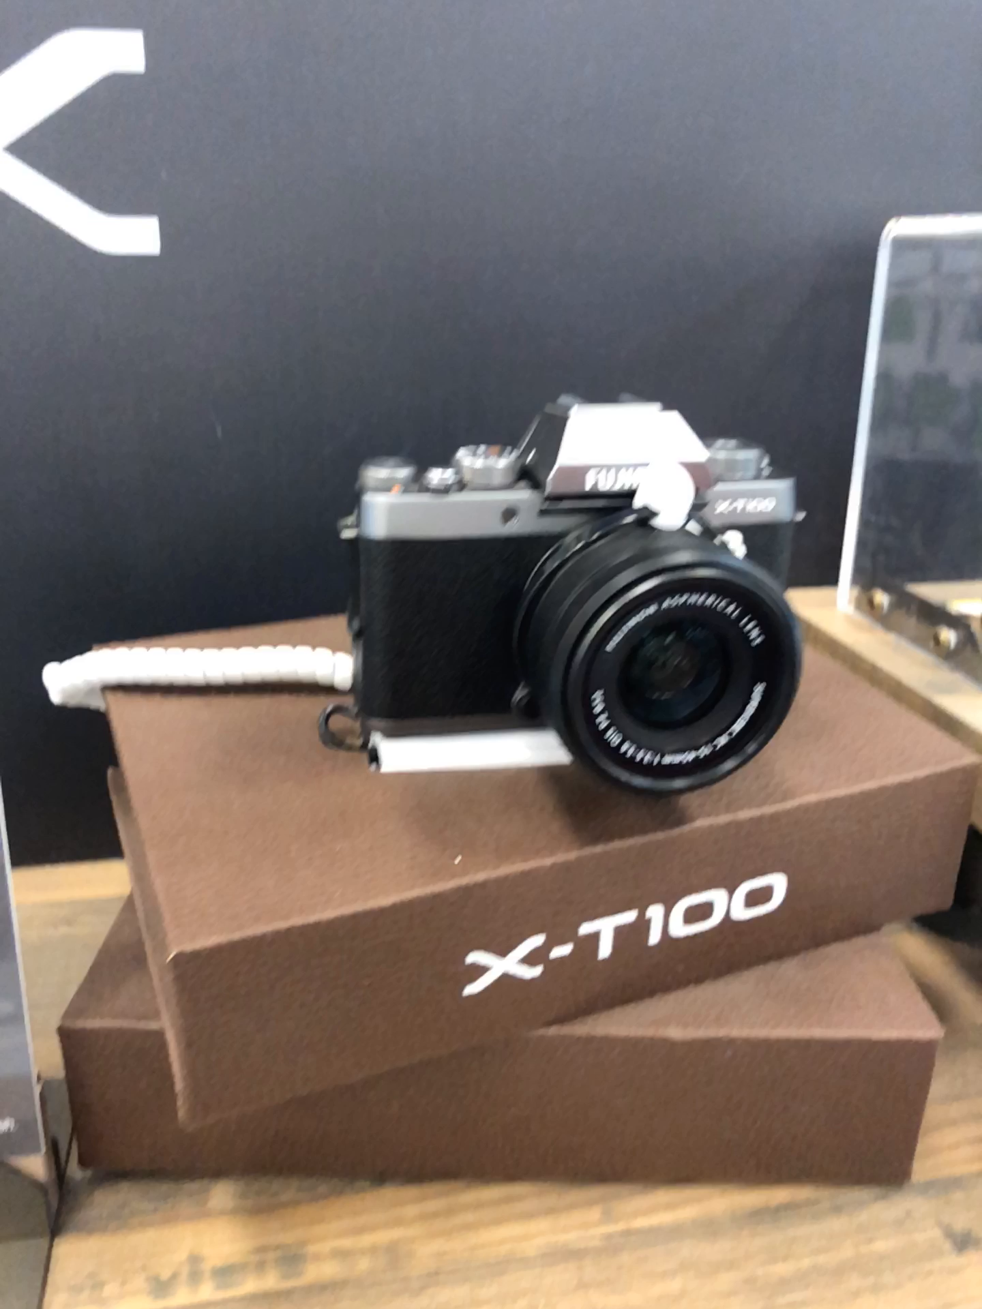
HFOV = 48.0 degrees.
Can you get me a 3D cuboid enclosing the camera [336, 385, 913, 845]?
[{"bbox_3d":[0.025,-0.018,0.289,0.120,0.090,0.090,-3,22,-12],"label":"camera"}]
